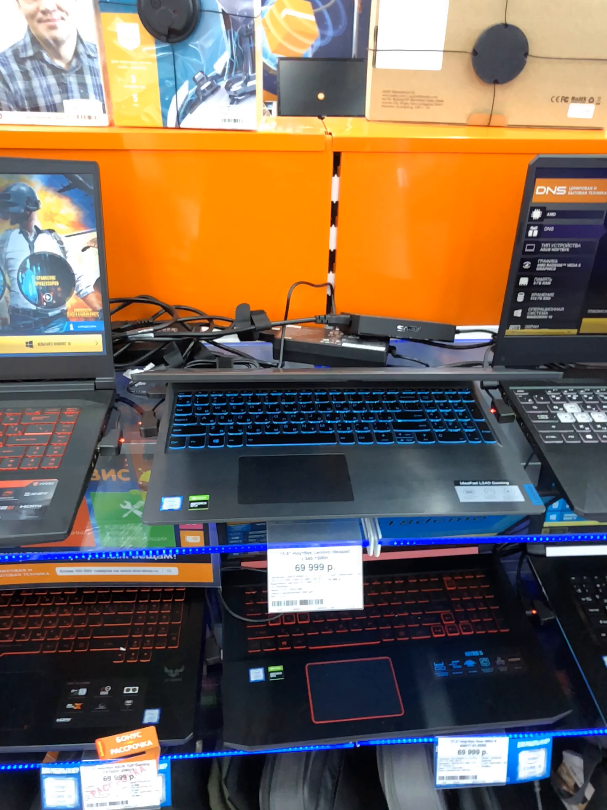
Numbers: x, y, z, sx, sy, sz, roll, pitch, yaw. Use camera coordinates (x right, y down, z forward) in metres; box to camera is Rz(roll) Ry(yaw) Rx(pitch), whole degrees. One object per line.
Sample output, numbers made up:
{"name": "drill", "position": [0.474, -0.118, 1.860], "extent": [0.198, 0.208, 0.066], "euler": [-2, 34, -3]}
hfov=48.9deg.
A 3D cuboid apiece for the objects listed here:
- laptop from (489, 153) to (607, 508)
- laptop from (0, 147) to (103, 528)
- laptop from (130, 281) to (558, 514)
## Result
{"name": "laptop", "position": [0.427, -0.091, 0.672], "extent": [0.383, 0.250, 0.278], "euler": [0, 32, -3]}
{"name": "laptop", "position": [-0.407, -0.082, 0.627], "extent": [0.348, 0.228, 0.326], "euler": [0, 31, -6]}
{"name": "laptop", "position": [0.027, -0.022, 0.672], "extent": [0.347, 0.117, 0.242], "euler": [-1, 32, -3]}
